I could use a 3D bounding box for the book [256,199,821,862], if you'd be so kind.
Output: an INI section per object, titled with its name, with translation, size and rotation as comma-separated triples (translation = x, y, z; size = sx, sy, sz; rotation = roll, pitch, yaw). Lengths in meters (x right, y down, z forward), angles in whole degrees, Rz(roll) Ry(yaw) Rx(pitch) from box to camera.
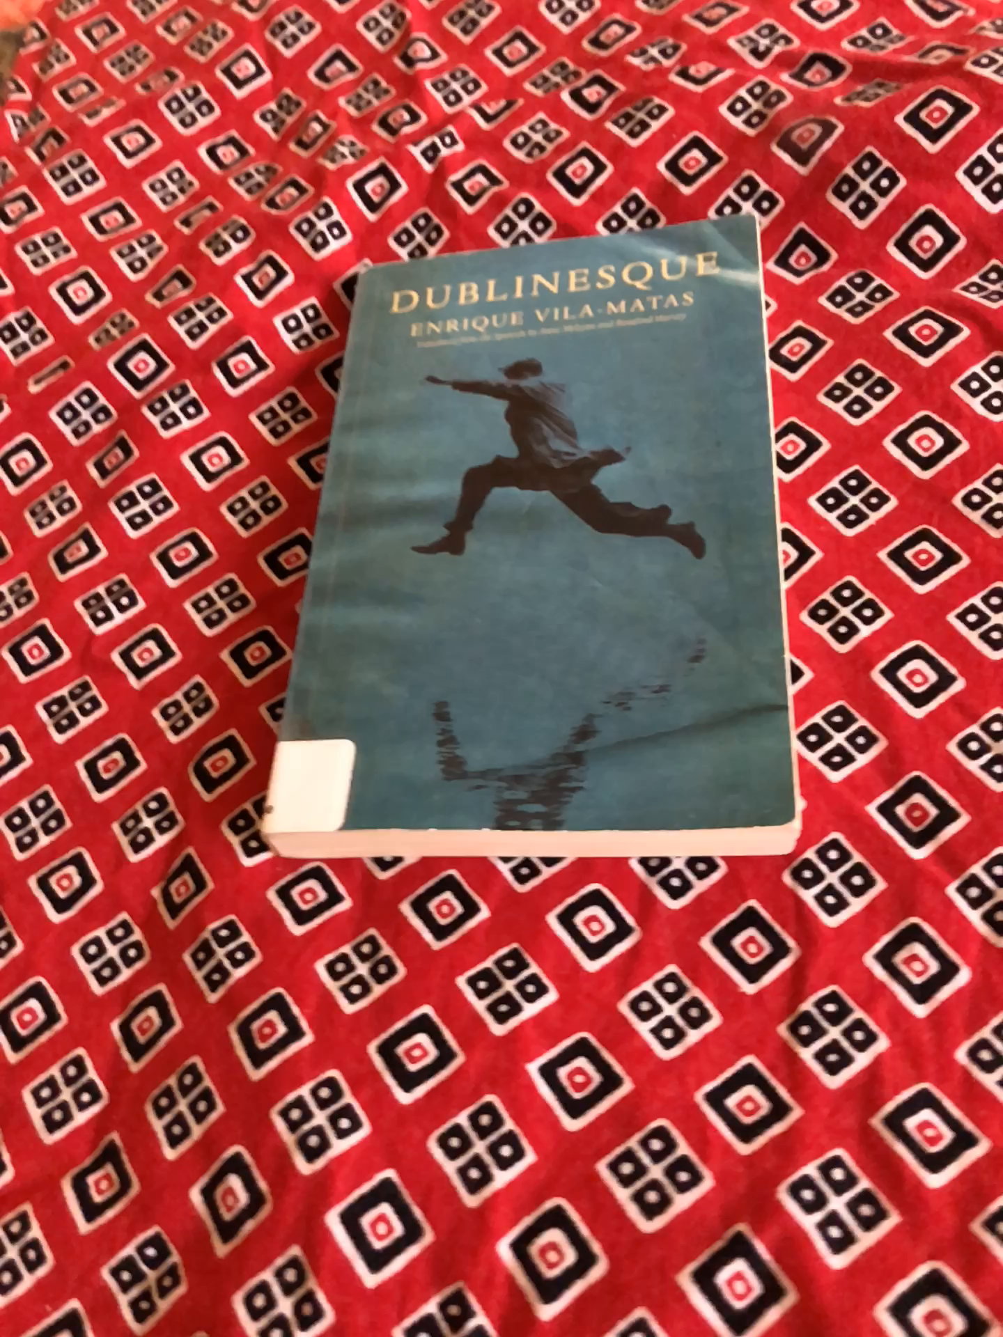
[book]
translation = 0.013, -0.046, 0.320
size = 0.137, 0.020, 0.203
rotation = -3, 62, 13
